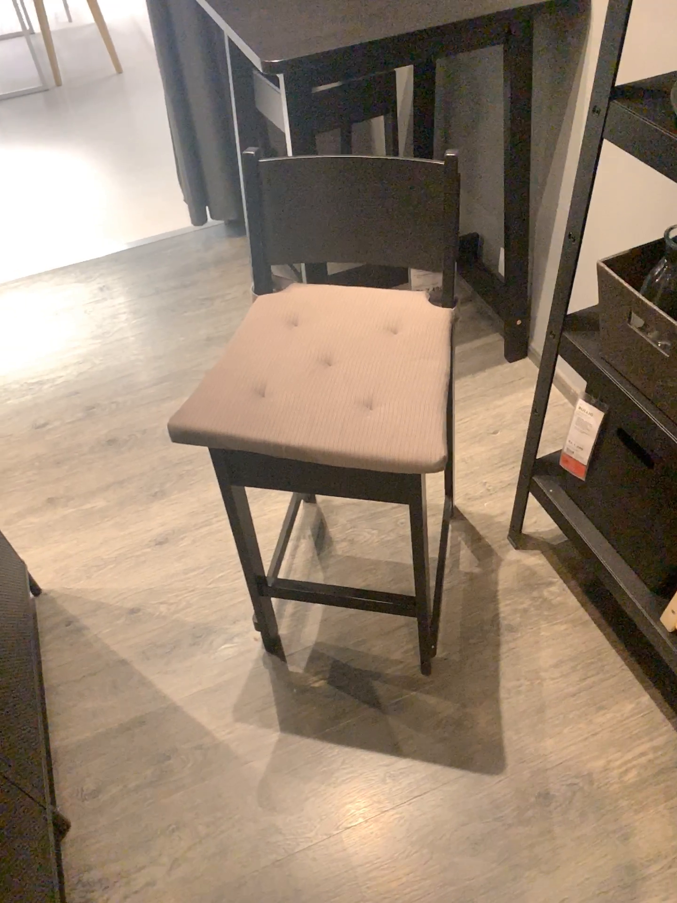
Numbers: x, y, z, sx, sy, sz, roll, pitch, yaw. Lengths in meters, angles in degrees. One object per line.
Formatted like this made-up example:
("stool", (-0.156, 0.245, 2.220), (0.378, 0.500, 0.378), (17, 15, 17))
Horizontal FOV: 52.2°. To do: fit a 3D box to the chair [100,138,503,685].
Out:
("chair", (0.018, -0.026, 1.286), (0.460, 0.887, 0.502), (5, 49, 11))
